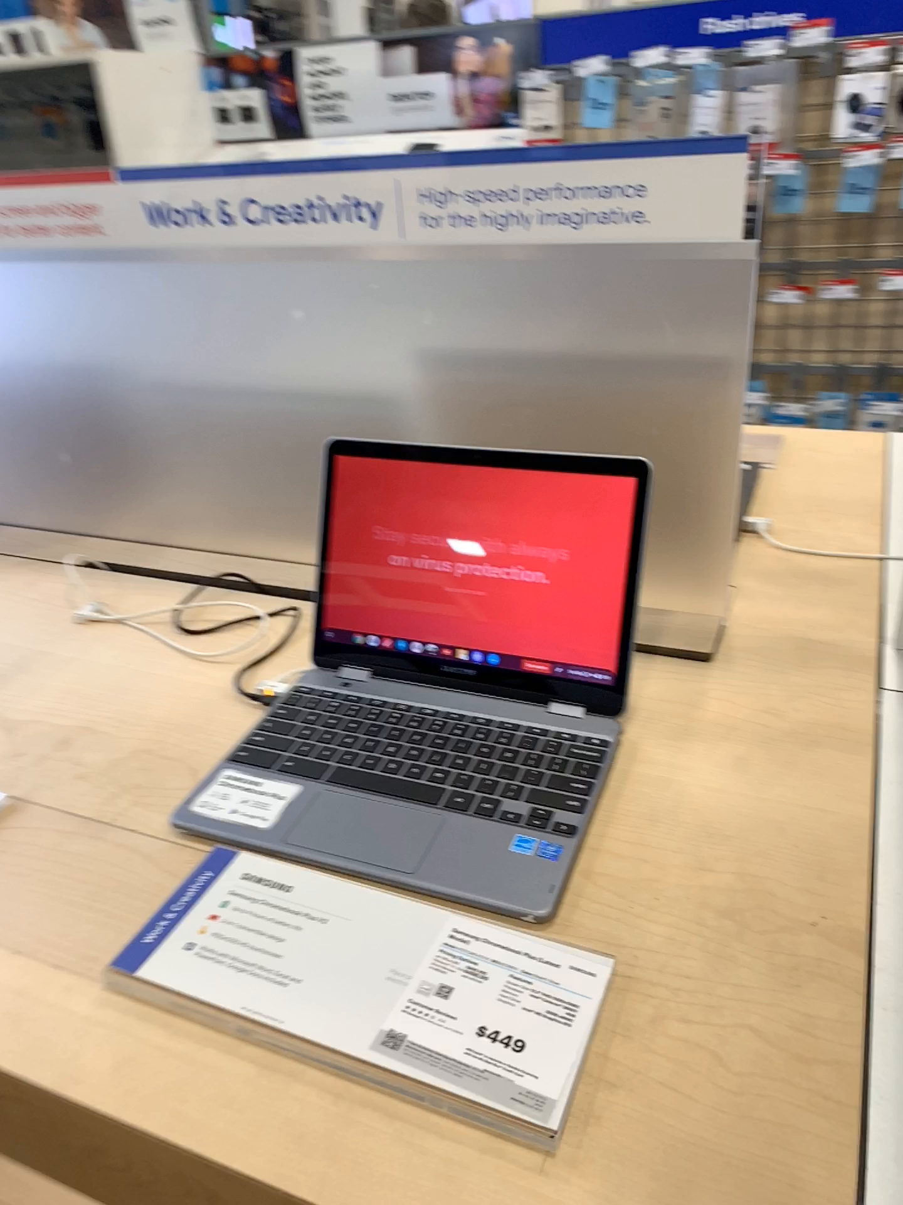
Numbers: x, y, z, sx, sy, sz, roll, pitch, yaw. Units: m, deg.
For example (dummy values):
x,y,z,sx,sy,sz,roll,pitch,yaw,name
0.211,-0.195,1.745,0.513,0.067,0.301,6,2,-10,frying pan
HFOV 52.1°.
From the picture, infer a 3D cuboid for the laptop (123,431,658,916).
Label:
x,y,z,sx,sy,sz,roll,pitch,yaw,name
-0.019,0.020,0.677,0.274,0.181,0.289,7,32,22,laptop
